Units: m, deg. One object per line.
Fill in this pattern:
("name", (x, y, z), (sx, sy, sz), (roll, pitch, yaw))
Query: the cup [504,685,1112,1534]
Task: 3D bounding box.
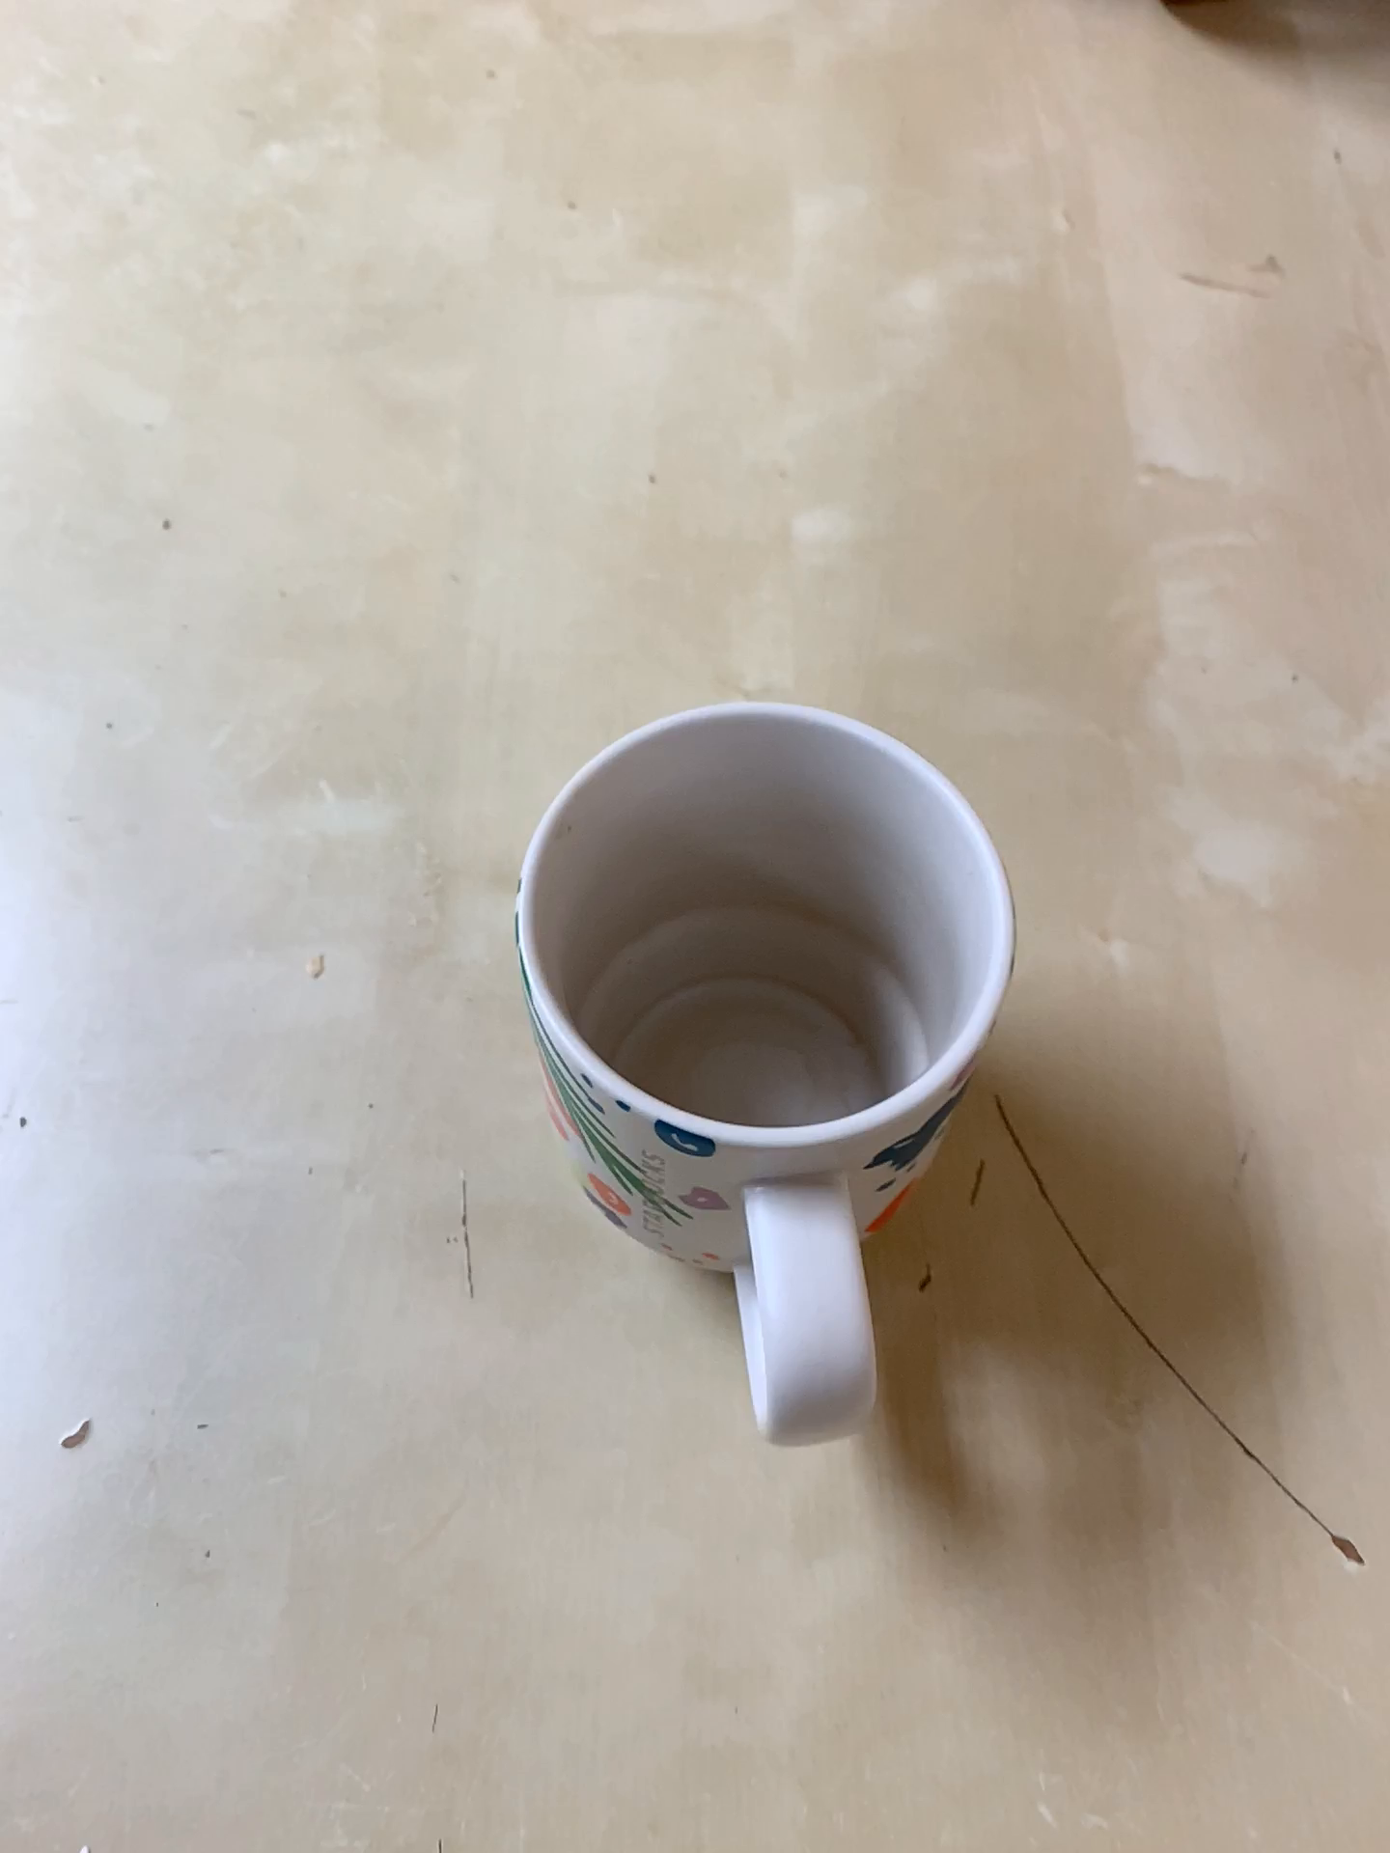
("cup", (0.012, 0.038, 0.272), (0.081, 0.095, 0.128), (-4, 62, -3))
